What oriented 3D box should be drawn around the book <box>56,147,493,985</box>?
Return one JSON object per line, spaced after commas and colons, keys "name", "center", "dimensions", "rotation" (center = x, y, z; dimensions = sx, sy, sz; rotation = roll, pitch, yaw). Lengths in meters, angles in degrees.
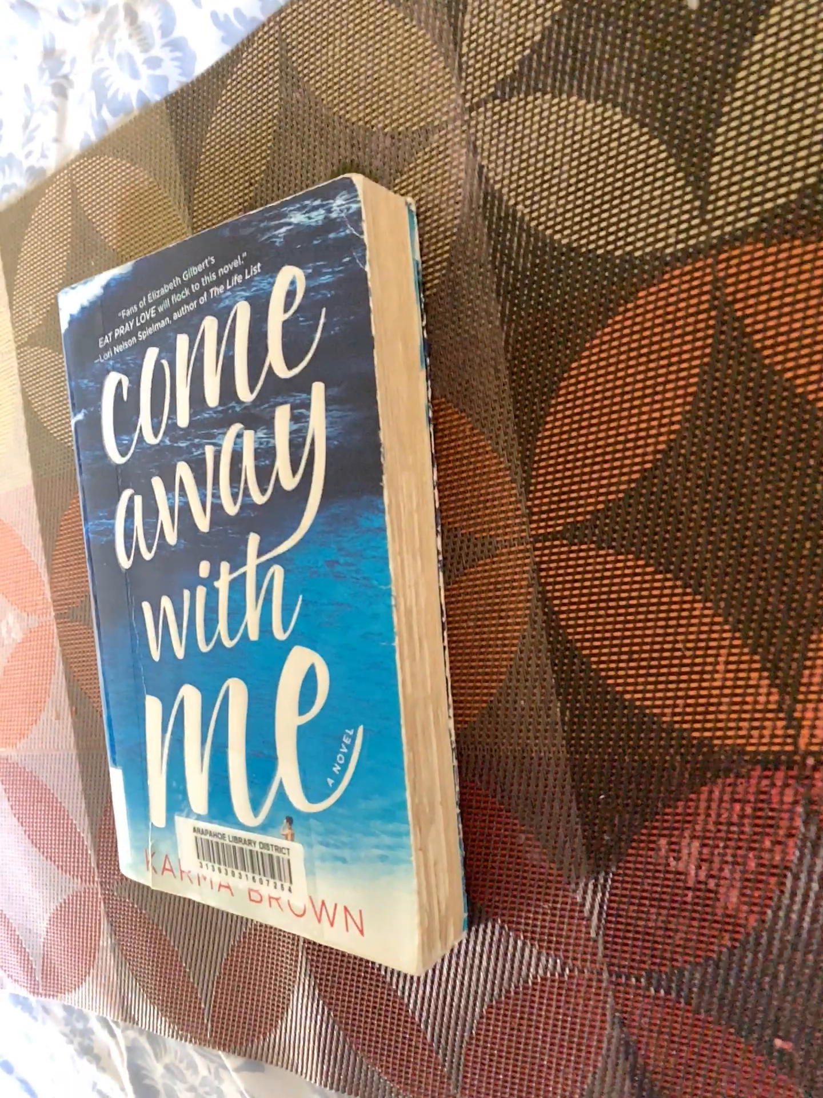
{"name": "book", "center": [-0.048, 0.008, 0.256], "dimensions": [0.135, 0.030, 0.200], "rotation": [-2, 94, 38]}
